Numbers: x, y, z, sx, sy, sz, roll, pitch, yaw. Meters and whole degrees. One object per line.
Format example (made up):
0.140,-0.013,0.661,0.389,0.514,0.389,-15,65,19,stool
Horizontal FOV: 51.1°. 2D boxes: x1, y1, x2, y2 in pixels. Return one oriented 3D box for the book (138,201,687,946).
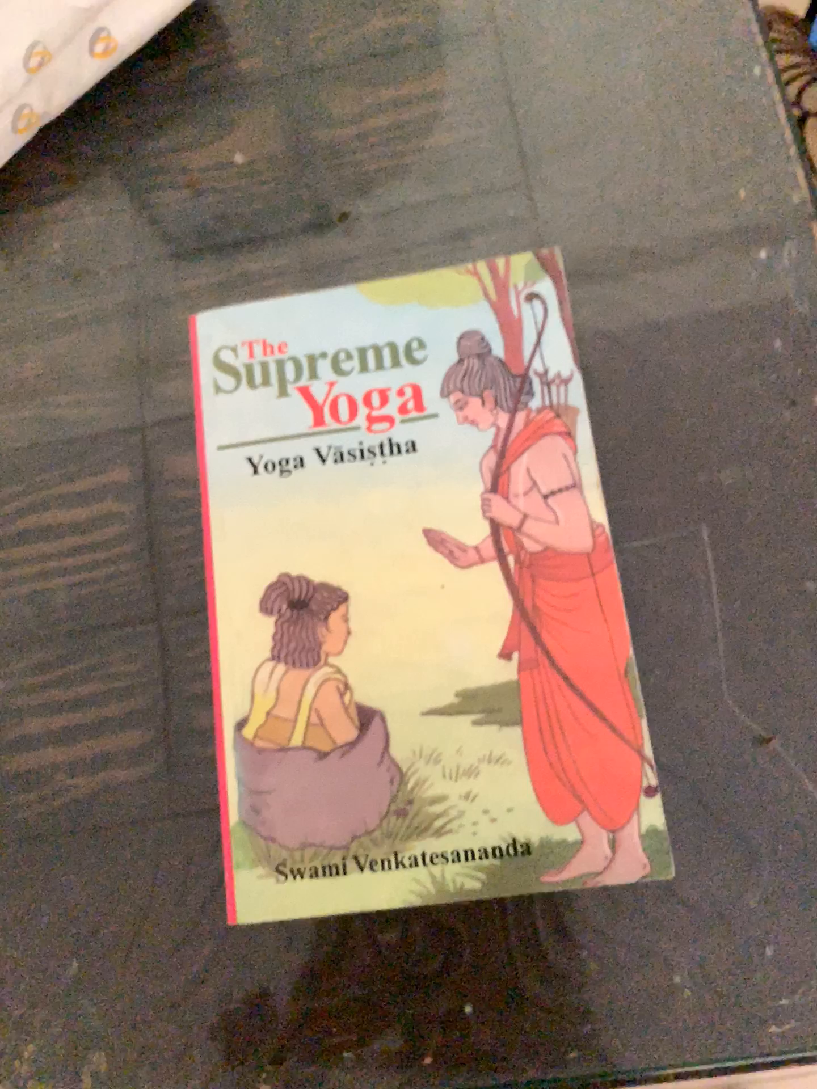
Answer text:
-0.008,0.003,0.272,0.140,0.030,0.210,-9,75,5,book
